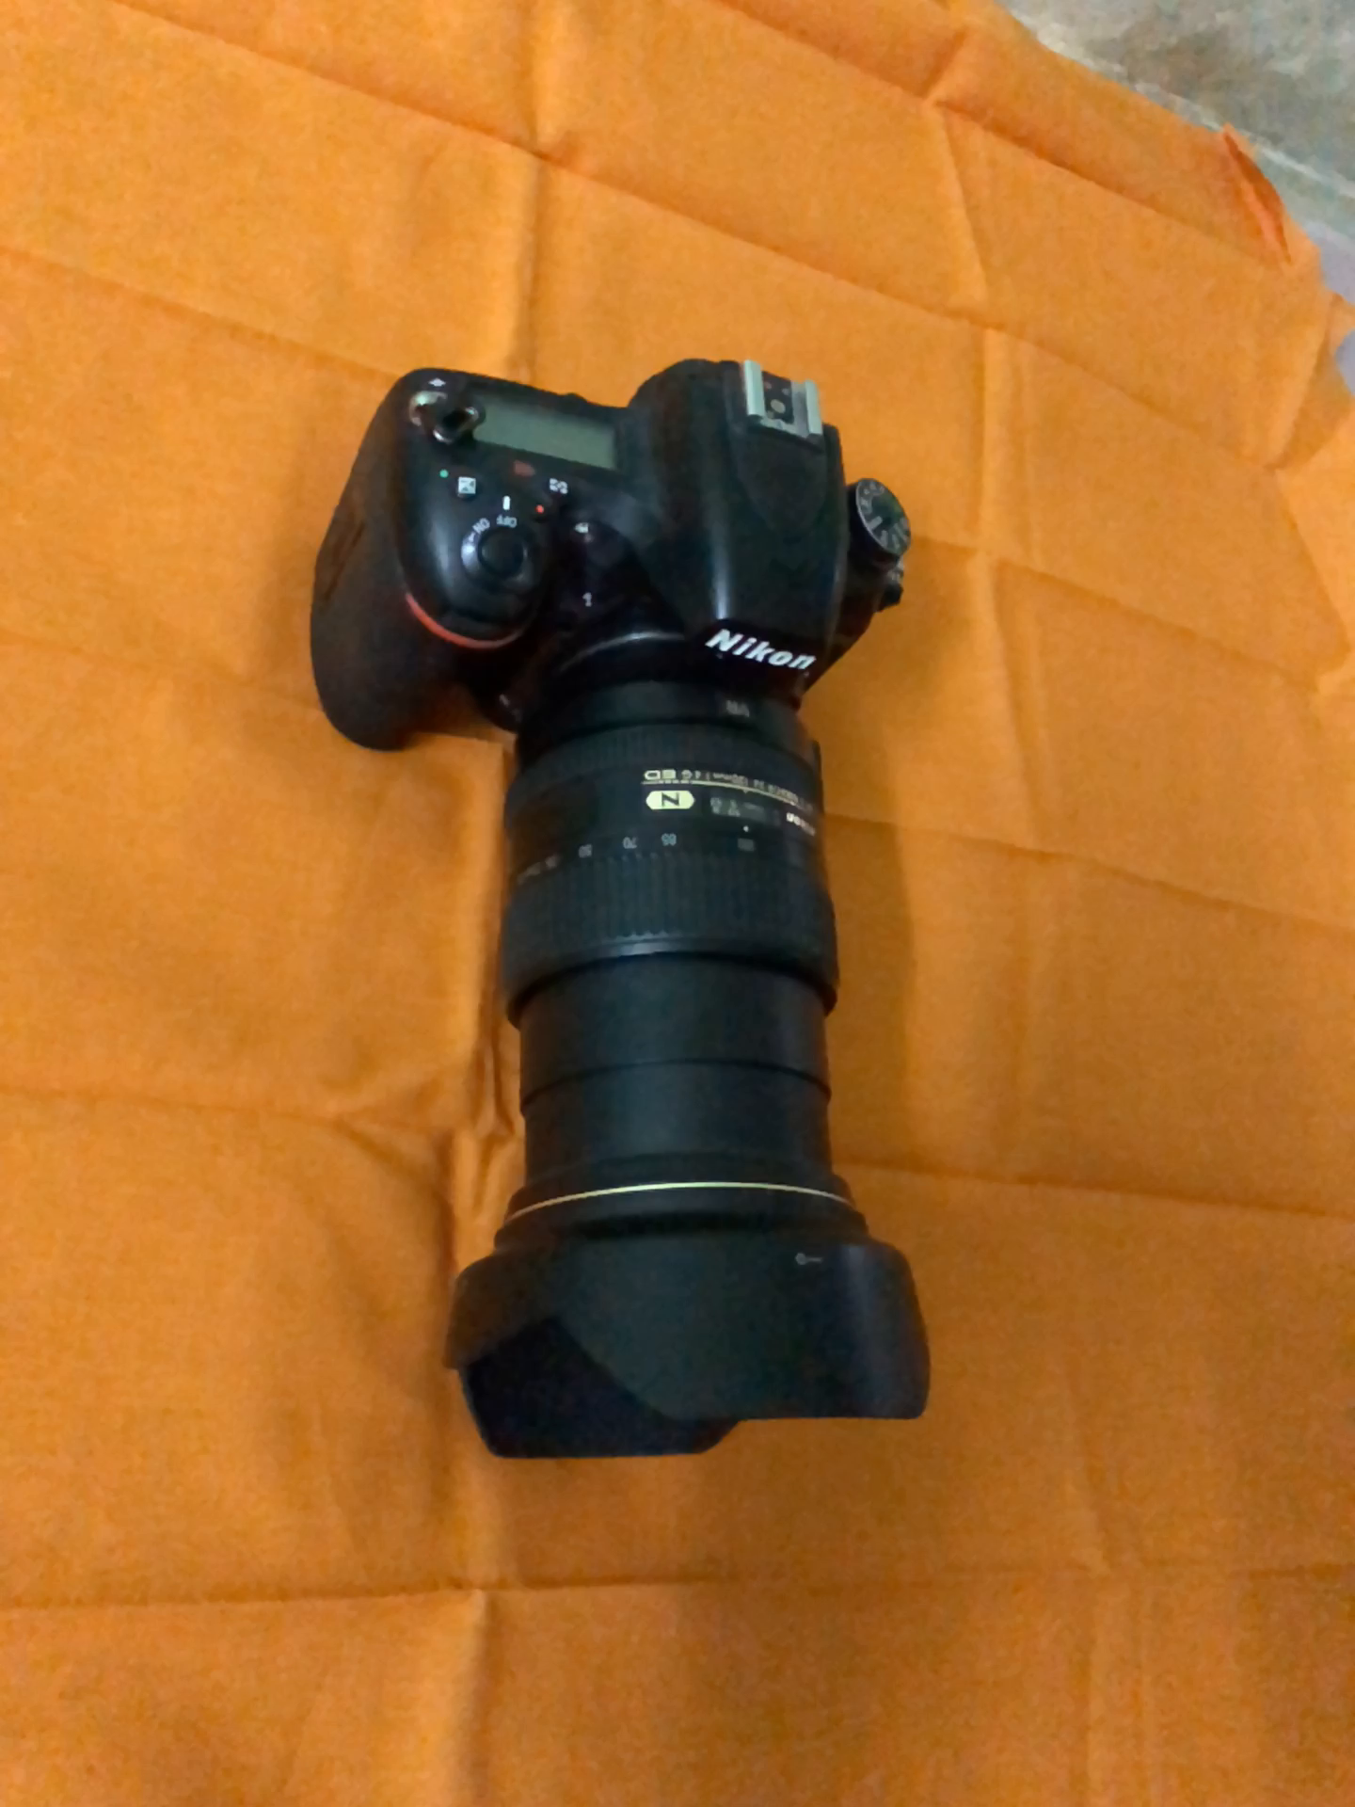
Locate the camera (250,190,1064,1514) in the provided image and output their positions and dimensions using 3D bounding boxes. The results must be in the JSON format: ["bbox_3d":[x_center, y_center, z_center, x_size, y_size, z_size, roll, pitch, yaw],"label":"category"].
[{"bbox_3d":[-0.017,-0.003,0.357,0.131,0.120,0.264,7,68,-26],"label":"camera"}]
